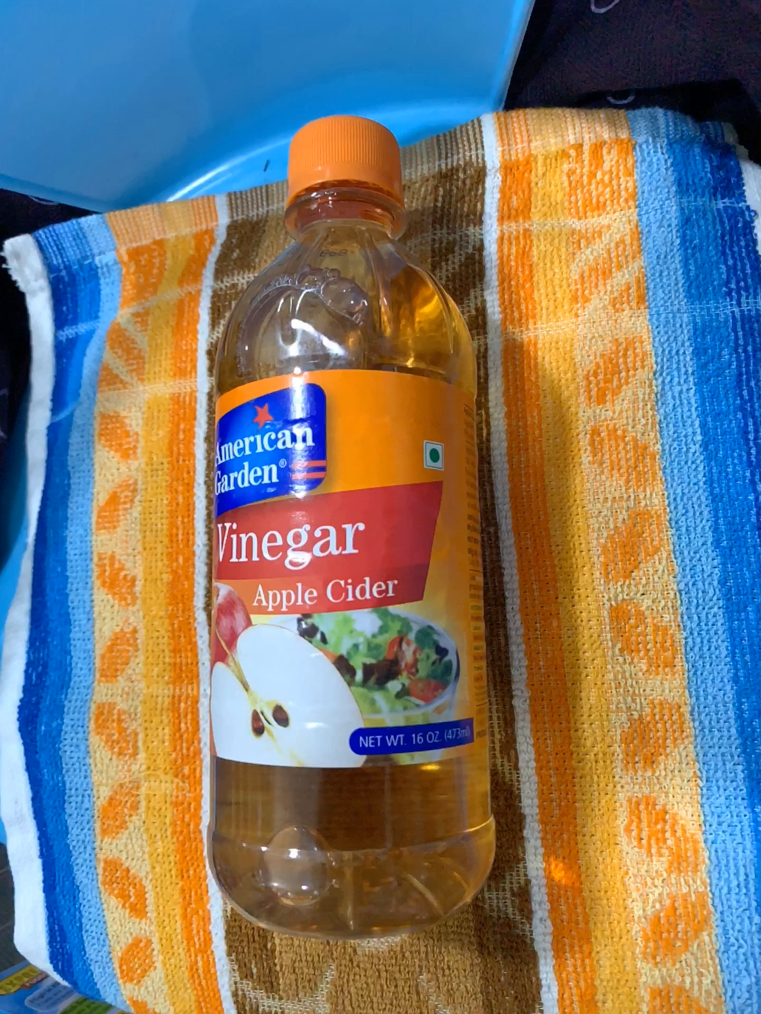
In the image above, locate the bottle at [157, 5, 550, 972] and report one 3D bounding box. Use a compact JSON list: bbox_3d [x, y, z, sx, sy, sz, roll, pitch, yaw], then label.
[{"bbox_3d":[-0.008,-0.005,0.185,0.070,0.050,0.180,-6,82,32],"label":"bottle"}]
